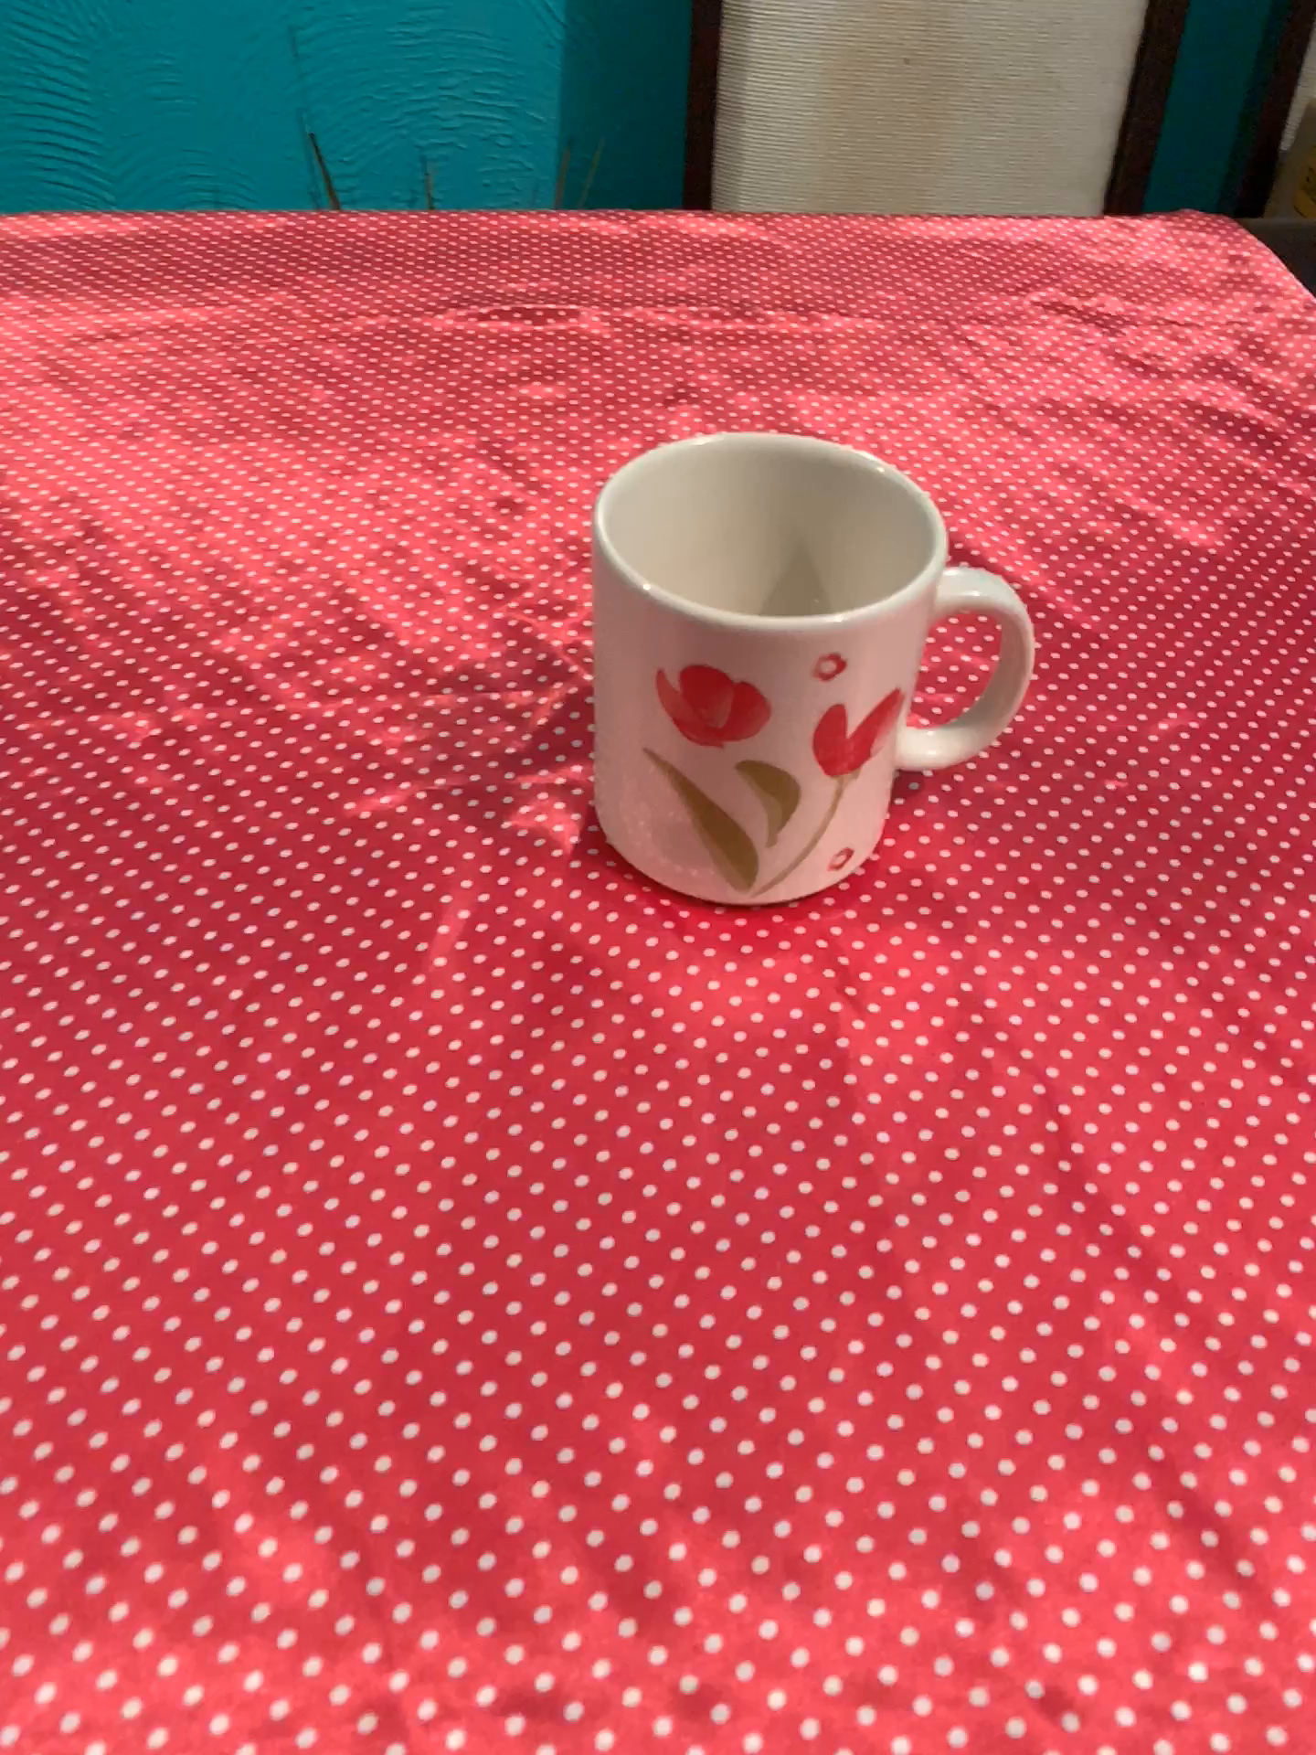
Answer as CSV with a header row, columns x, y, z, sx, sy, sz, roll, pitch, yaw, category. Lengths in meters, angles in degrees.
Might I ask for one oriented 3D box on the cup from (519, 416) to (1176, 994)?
x,y,z,sx,sy,sz,roll,pitch,yaw,category
0.034,-0.043,0.321,0.120,0.090,0.090,-6,47,-9,cup
